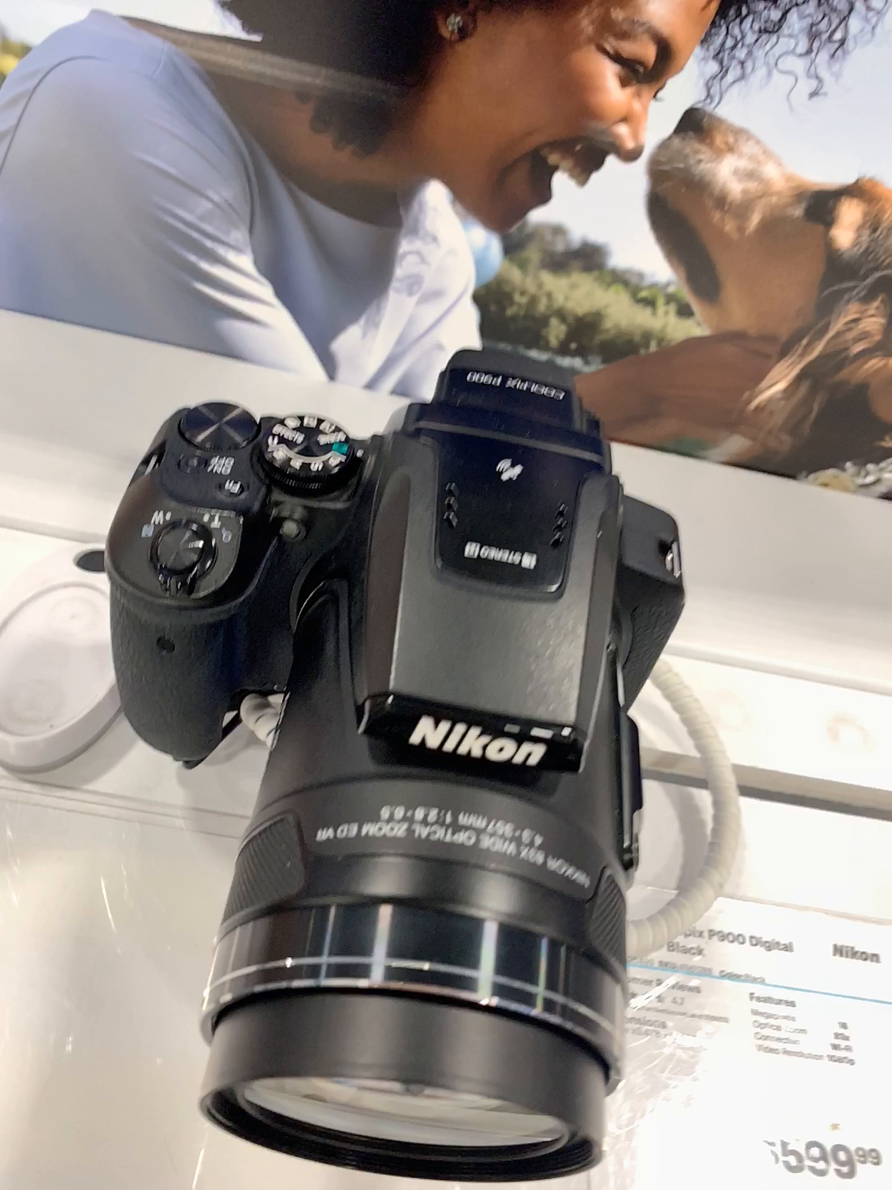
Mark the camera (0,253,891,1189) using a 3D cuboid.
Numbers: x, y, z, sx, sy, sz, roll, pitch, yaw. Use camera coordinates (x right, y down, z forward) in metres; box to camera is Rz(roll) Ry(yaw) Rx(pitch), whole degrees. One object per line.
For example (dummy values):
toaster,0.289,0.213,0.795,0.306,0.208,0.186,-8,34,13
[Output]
camera,-0.006,0.025,0.199,0.140,0.100,0.153,11,45,-7
